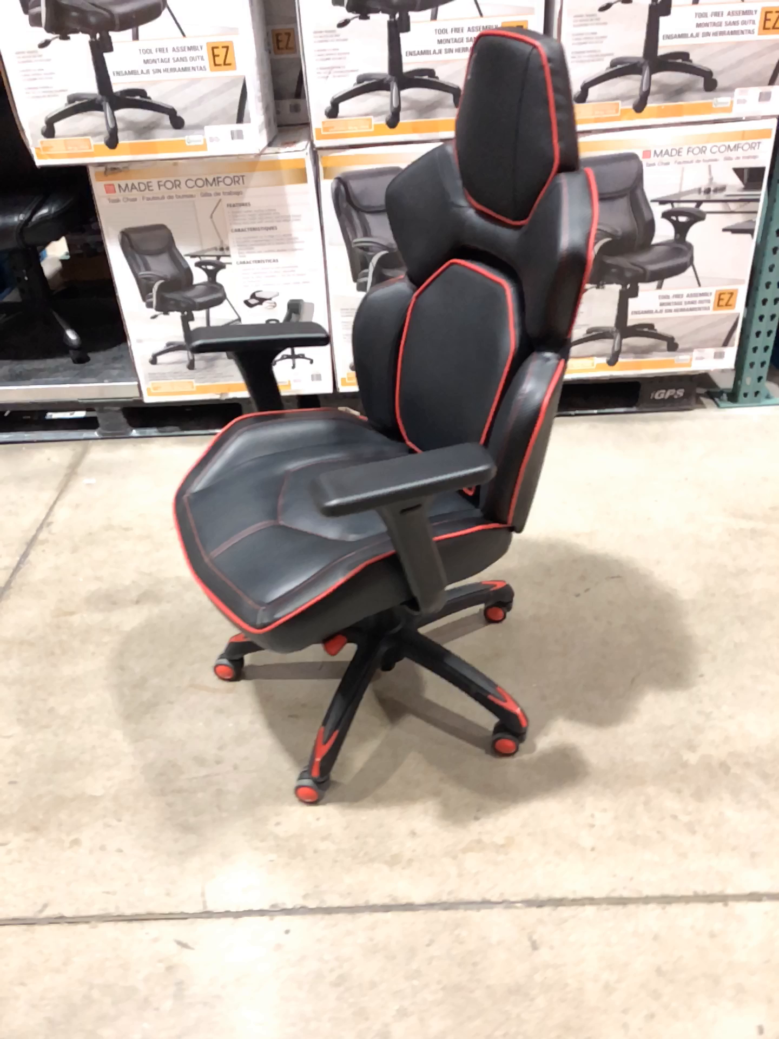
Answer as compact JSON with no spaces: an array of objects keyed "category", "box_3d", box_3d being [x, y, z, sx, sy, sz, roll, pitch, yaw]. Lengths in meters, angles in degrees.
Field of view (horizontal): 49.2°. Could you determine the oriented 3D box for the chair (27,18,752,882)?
[{"category":"chair","box_3d":[-0.017,-0.170,1.479,0.721,1.145,0.723,-21,37,-25]}]
